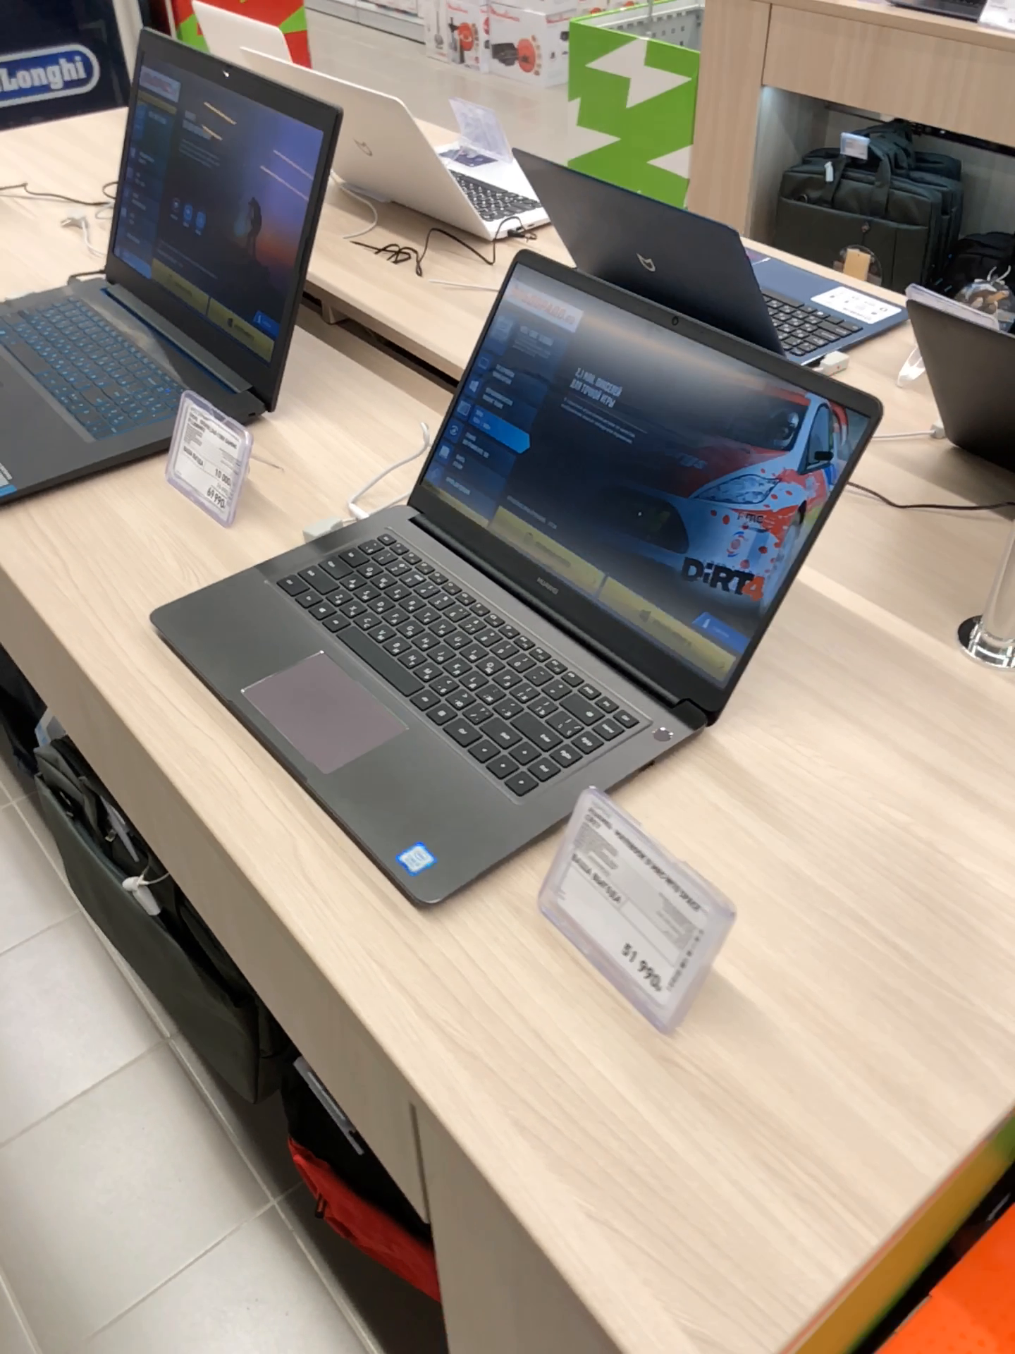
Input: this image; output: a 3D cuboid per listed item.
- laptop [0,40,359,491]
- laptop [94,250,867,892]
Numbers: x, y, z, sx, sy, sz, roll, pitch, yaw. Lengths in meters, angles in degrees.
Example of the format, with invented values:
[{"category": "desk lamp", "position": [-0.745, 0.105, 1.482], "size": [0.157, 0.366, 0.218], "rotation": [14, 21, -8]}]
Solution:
[{"category": "laptop", "position": [-0.425, -0.426, 1.084], "size": [0.379, 0.242, 0.393], "rotation": [-27, 47, -27]}, {"category": "laptop", "position": [-0.022, -0.110, 0.765], "size": [0.358, 0.180, 0.345], "rotation": [-29, 48, -28]}]
